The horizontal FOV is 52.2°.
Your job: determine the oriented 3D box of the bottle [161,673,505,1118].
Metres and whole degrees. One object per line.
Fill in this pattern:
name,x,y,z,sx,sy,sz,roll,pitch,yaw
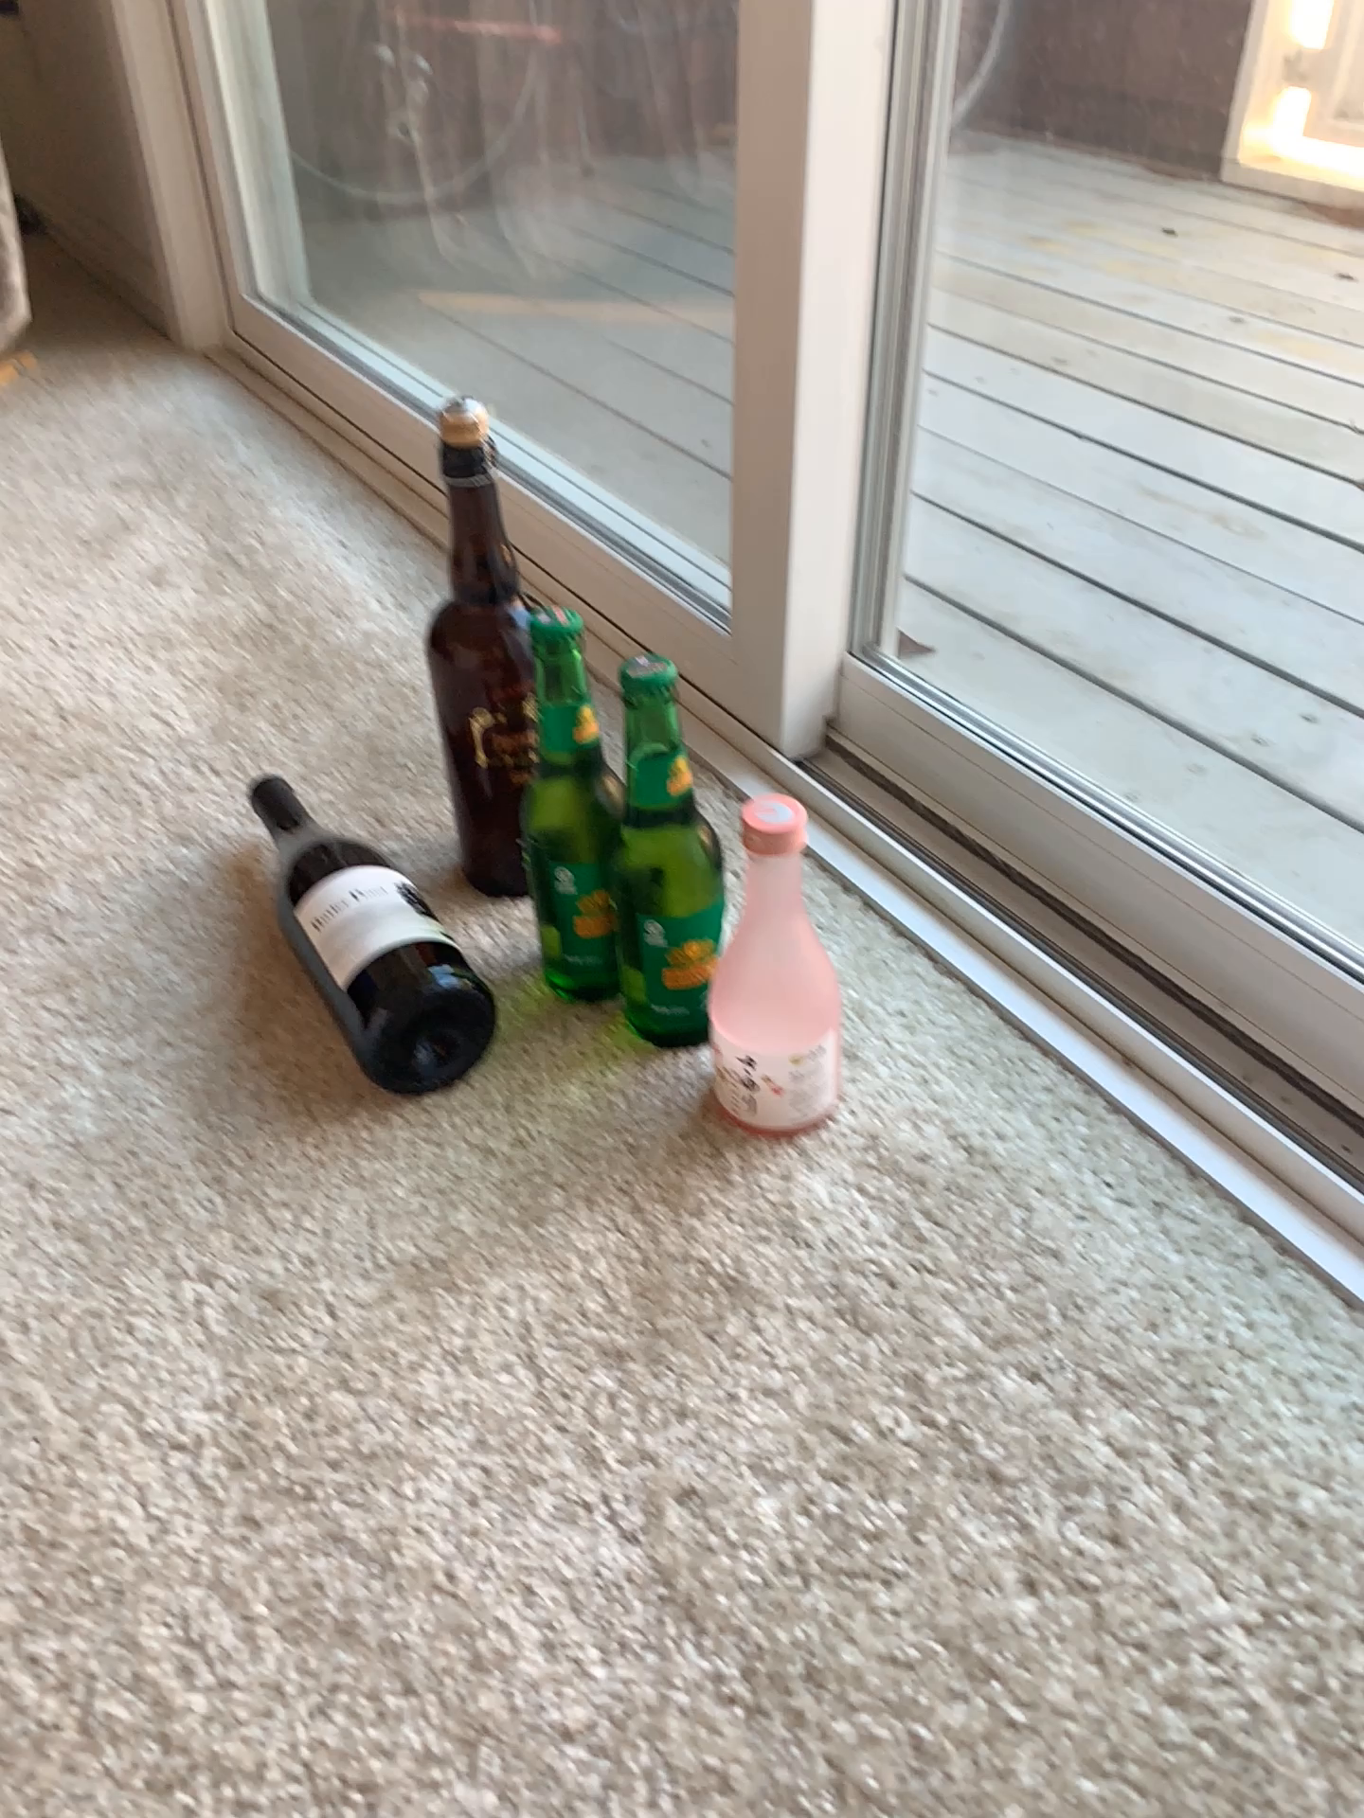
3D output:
bottle,-0.199,-0.019,0.776,0.070,0.080,0.281,-23,50,-27

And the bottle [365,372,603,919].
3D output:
bottle,-0.106,-0.143,0.797,0.080,0.288,0.080,0,38,0

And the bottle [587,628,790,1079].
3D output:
bottle,0.003,-0.024,0.724,0.070,0.219,0.070,0,38,0

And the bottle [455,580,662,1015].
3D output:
bottle,-0.061,-0.055,0.734,0.070,0.209,0.070,0,38,0

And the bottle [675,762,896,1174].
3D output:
bottle,0.046,0.031,0.677,0.070,0.179,0.070,0,38,0
